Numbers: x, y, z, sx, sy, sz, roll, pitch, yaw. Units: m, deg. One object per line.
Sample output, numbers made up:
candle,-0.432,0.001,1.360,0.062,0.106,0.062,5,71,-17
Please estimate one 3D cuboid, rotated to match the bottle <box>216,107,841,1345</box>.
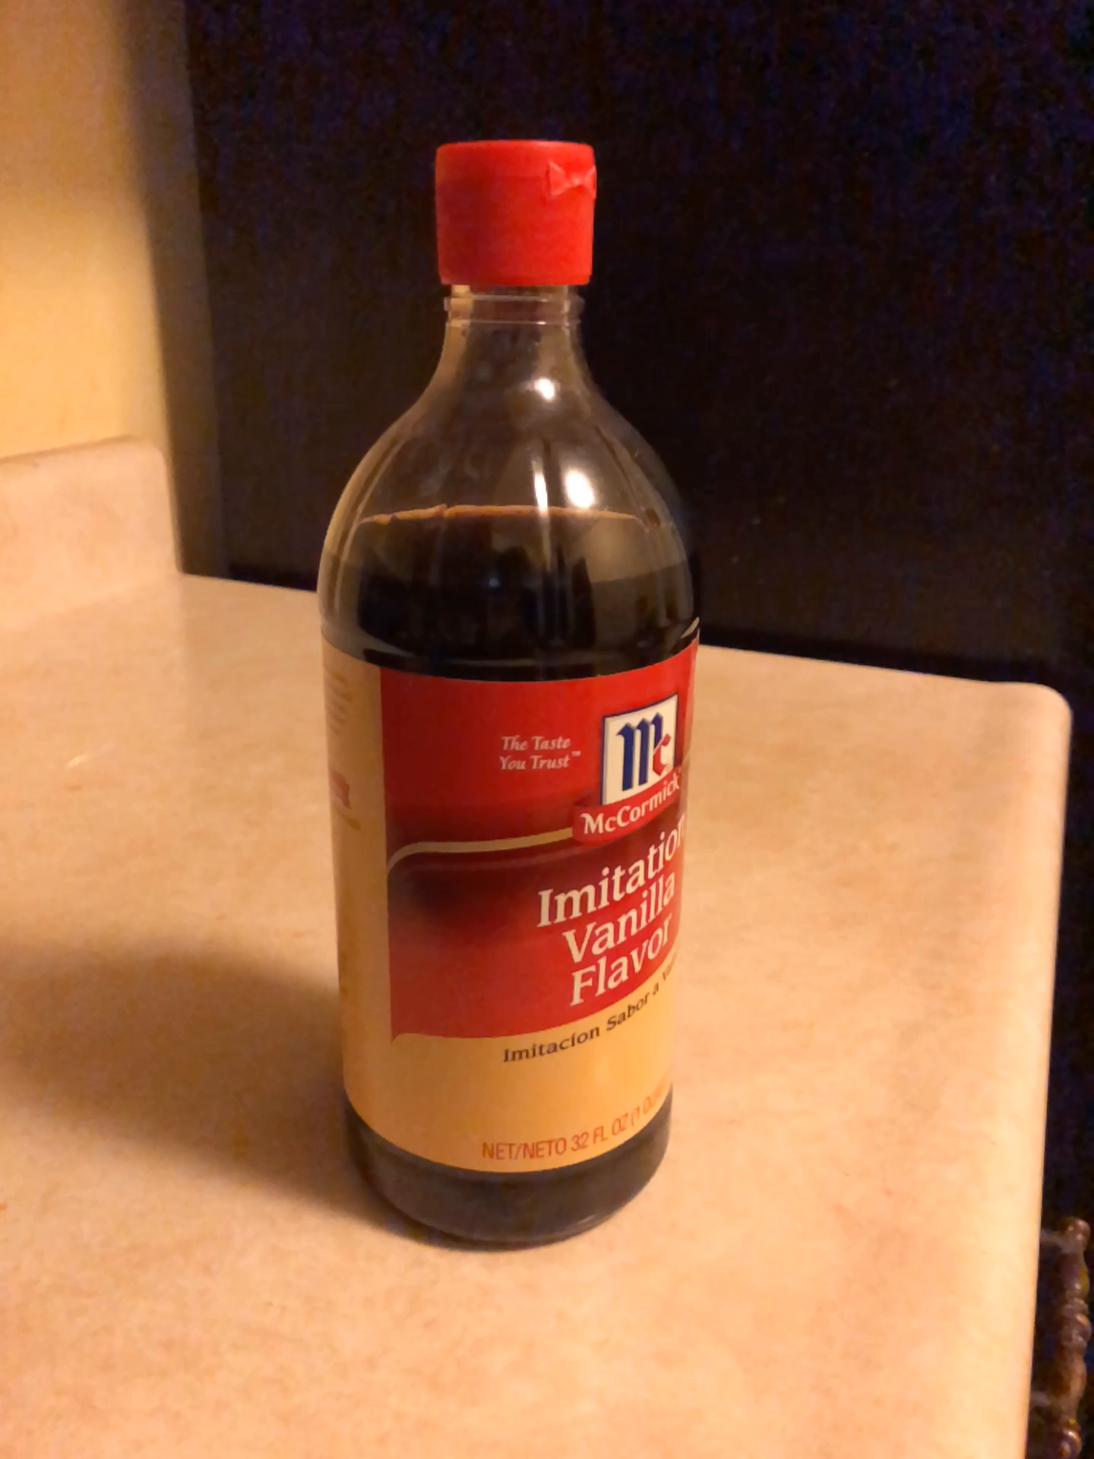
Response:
bottle,-0.004,-0.001,0.277,0.080,0.239,0.090,20,28,41
